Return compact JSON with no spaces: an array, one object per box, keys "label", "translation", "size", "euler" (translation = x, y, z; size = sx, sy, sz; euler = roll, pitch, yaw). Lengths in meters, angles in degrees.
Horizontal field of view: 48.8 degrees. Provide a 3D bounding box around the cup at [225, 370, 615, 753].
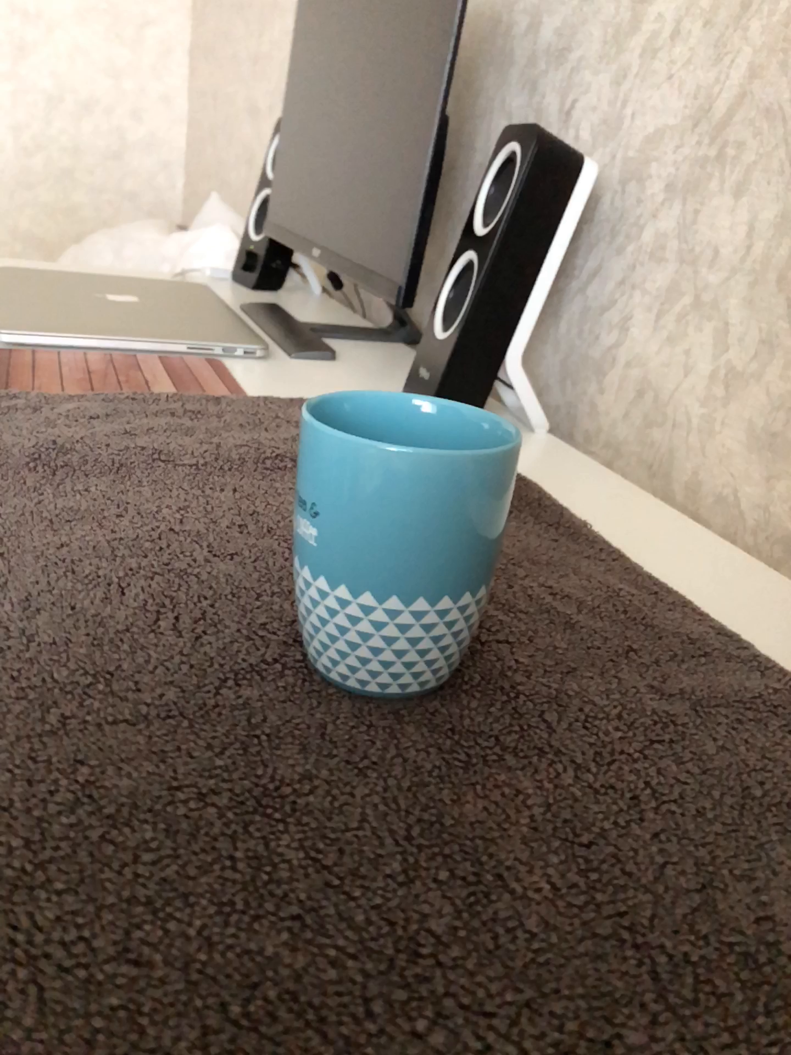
[{"label":"cup","translation":[-0.001,0.002,0.327],"size":[0.087,0.090,0.126],"euler":[-3,24,-27]}]
